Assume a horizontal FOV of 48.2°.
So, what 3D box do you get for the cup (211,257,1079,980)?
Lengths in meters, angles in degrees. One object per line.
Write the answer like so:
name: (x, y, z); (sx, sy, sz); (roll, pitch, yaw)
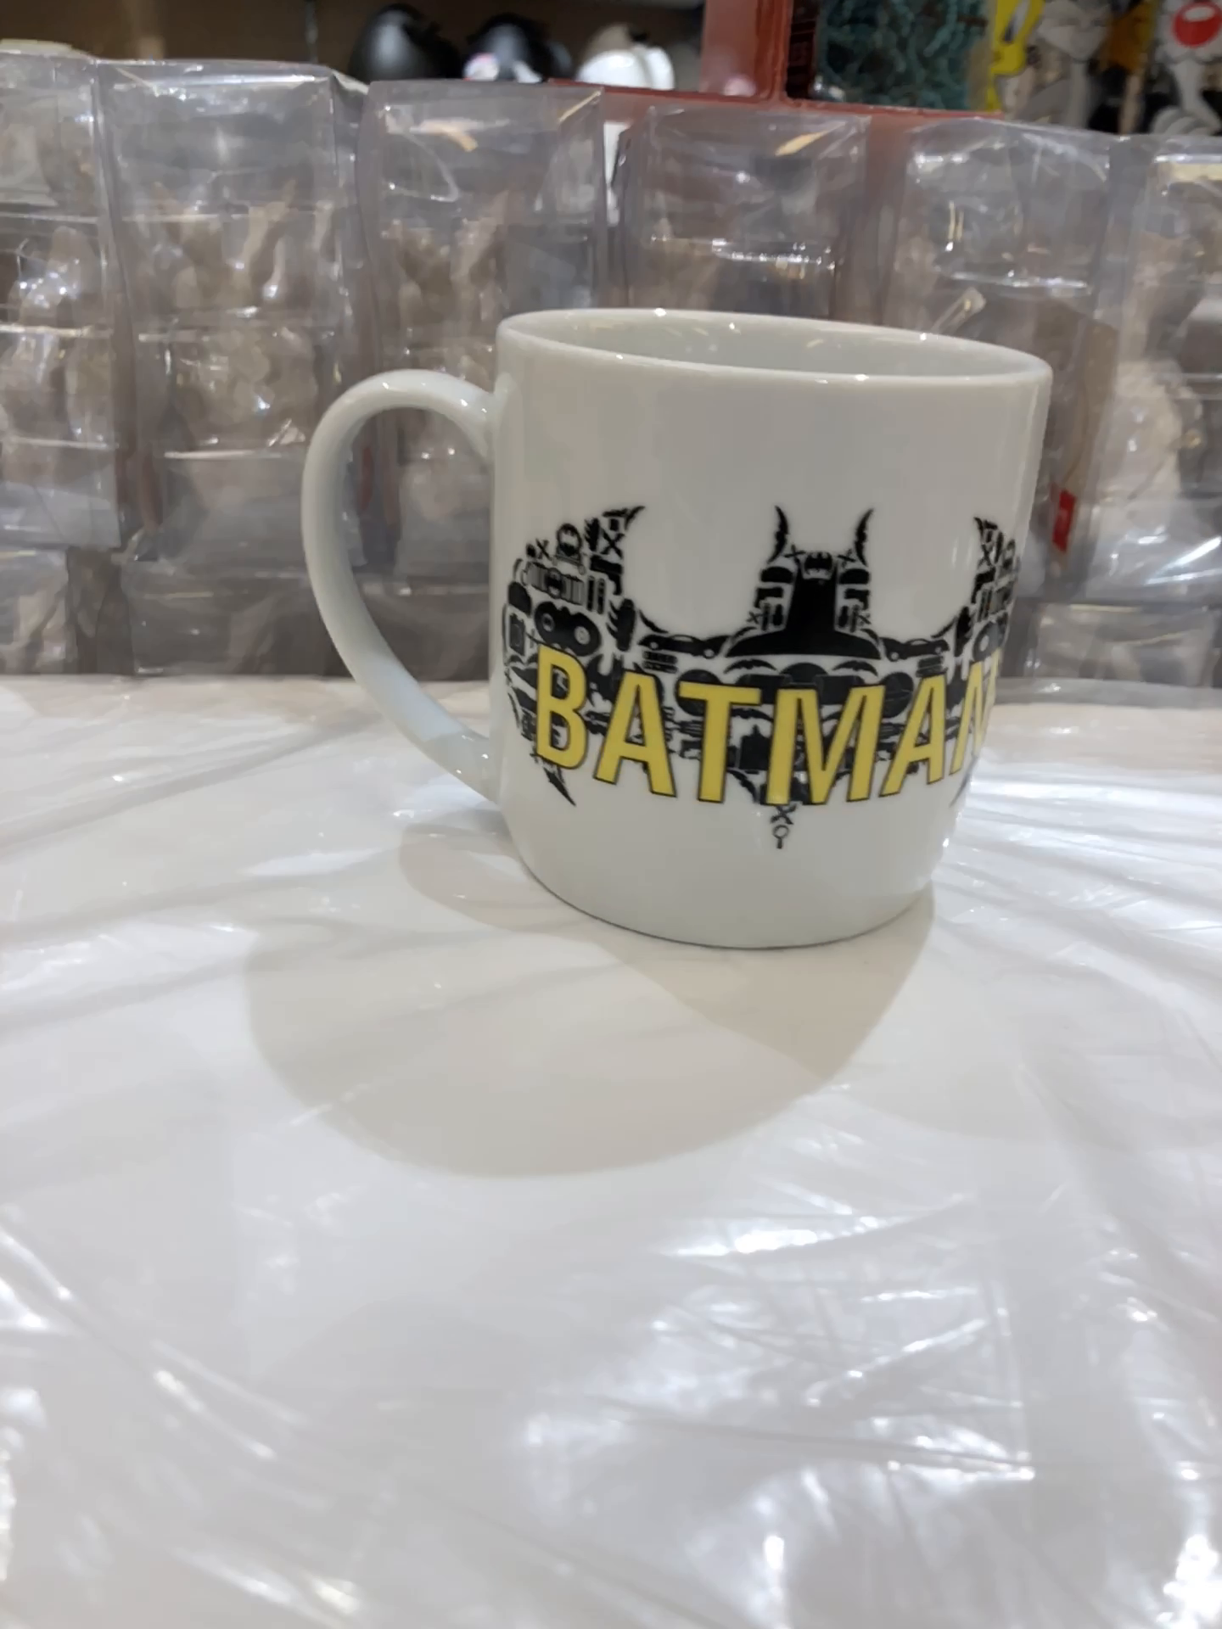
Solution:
cup: (0.005, -0.039, 0.226); (0.110, 0.089, 0.081); (6, 24, 5)
